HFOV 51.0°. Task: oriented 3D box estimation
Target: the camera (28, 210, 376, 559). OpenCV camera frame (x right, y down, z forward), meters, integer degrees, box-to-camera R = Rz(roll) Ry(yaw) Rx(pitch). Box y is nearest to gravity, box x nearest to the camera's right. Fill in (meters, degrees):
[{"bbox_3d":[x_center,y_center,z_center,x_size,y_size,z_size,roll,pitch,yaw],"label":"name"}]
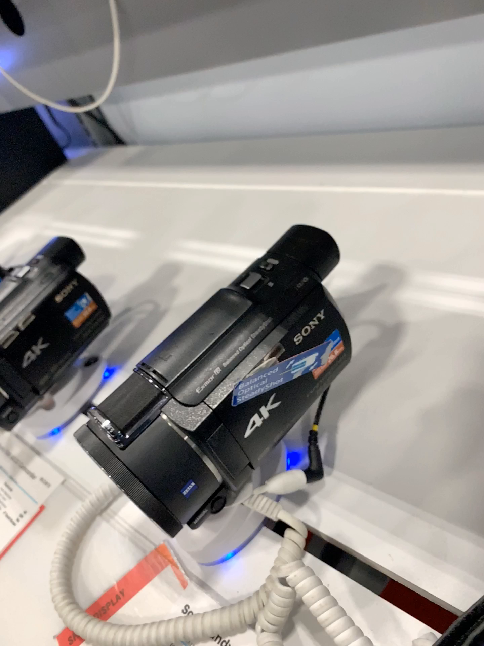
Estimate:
[{"bbox_3d":[-0.013,0.022,0.257,0.151,0.071,0.070,-45,41,-19],"label":"camera"}]
